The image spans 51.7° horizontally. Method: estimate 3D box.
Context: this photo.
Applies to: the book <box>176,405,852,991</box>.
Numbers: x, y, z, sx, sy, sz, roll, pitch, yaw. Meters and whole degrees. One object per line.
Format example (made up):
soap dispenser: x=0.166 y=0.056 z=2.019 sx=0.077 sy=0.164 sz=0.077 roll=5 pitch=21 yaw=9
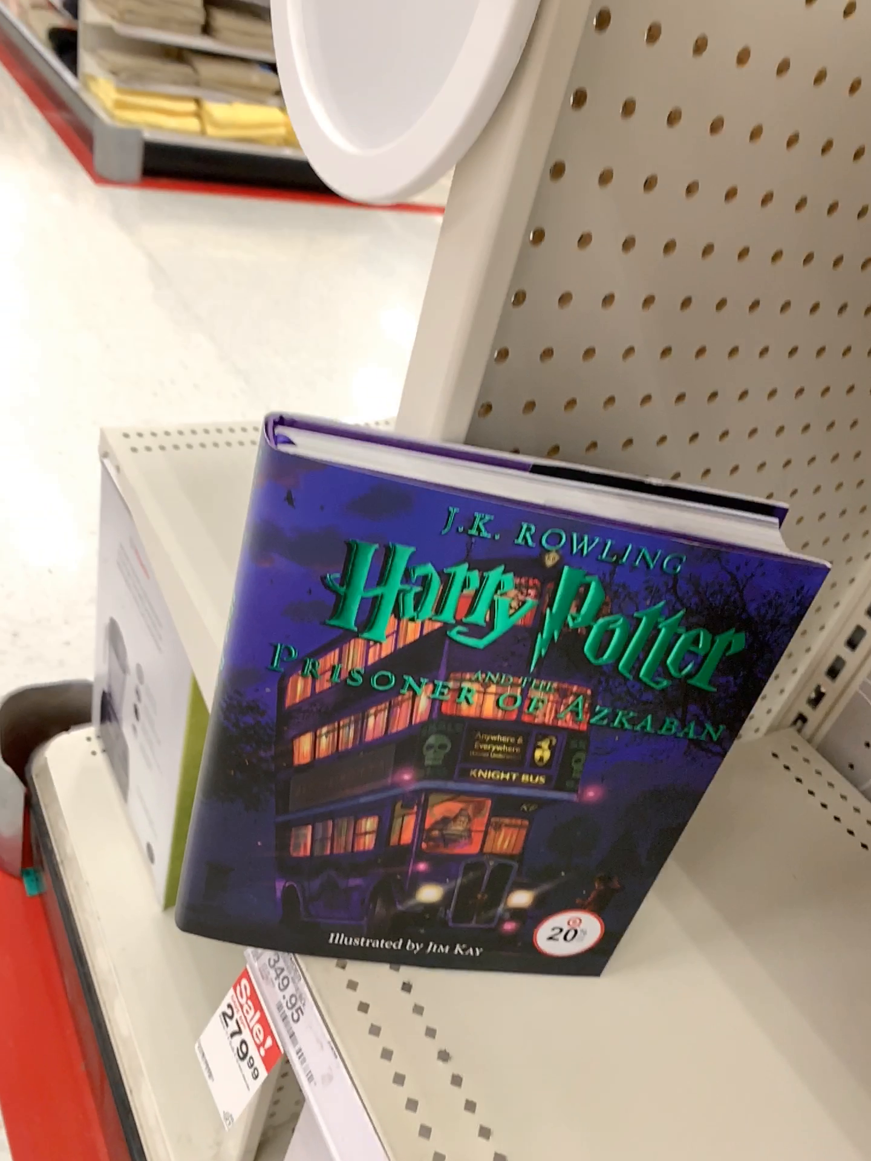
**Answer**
book: x=0.016 y=0.079 z=0.428 sx=0.240 sy=0.280 sz=0.050 roll=9 pitch=31 yaw=-11
